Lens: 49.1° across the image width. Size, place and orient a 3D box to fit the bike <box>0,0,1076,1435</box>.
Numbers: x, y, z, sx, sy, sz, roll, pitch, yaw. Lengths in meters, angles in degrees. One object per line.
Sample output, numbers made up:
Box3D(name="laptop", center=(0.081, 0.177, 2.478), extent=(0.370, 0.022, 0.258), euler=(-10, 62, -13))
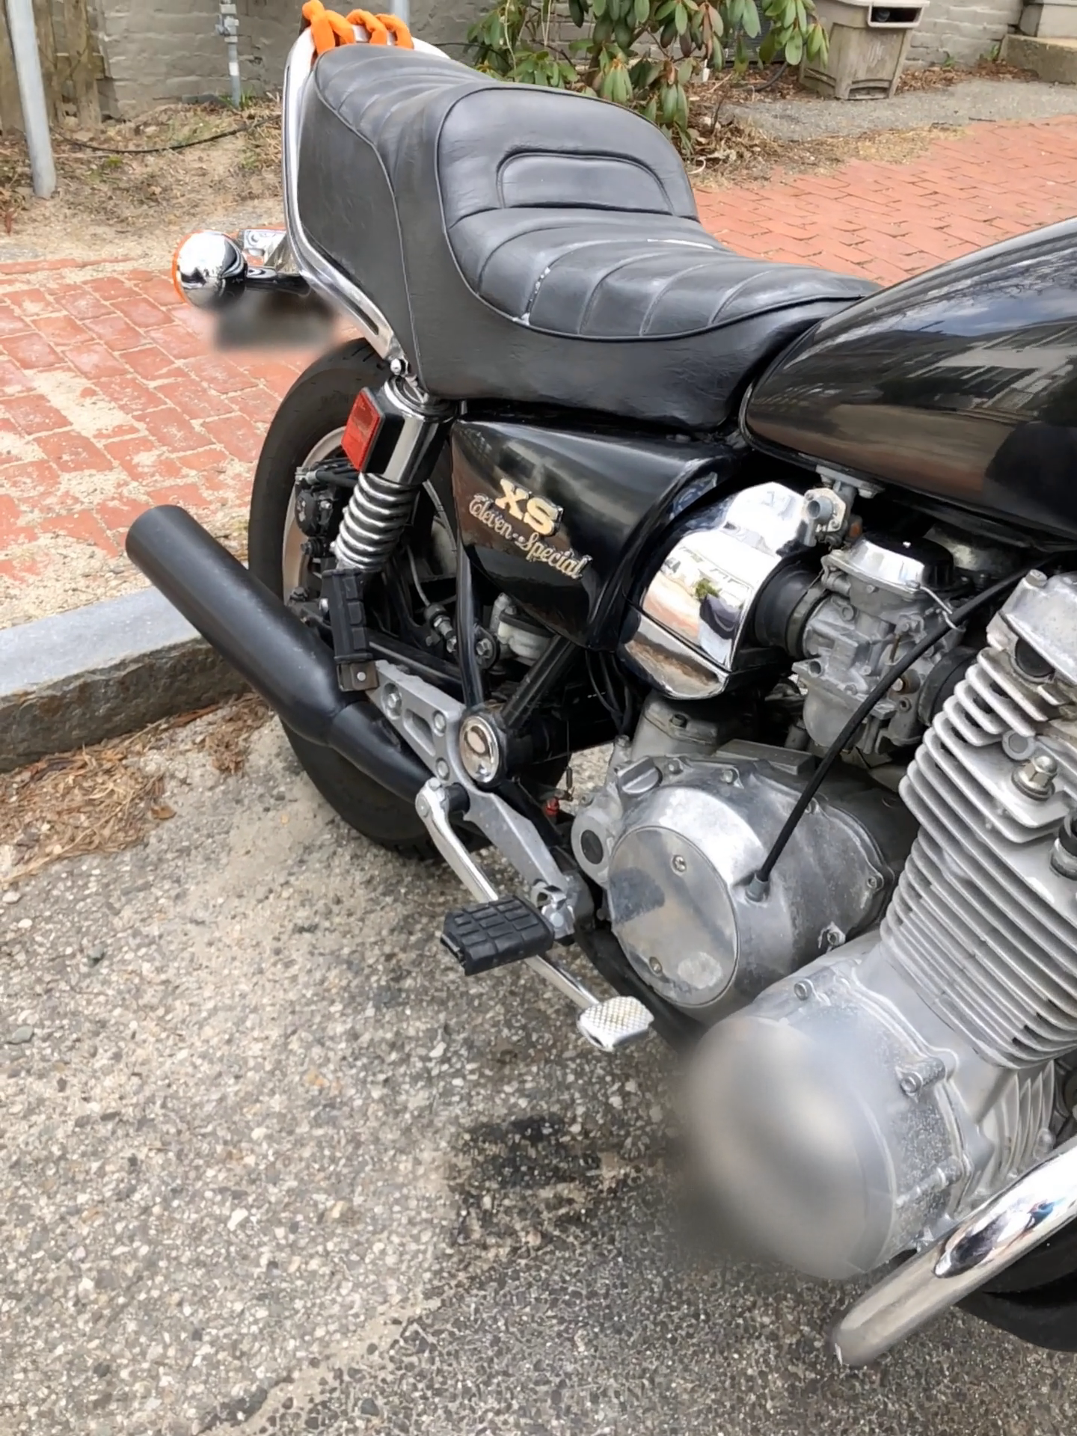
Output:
Box3D(name="bike", center=(0.430, -0.032, 0.816), extent=(0.712, 1.157, 1.971), euler=(-25, 45, -36))
